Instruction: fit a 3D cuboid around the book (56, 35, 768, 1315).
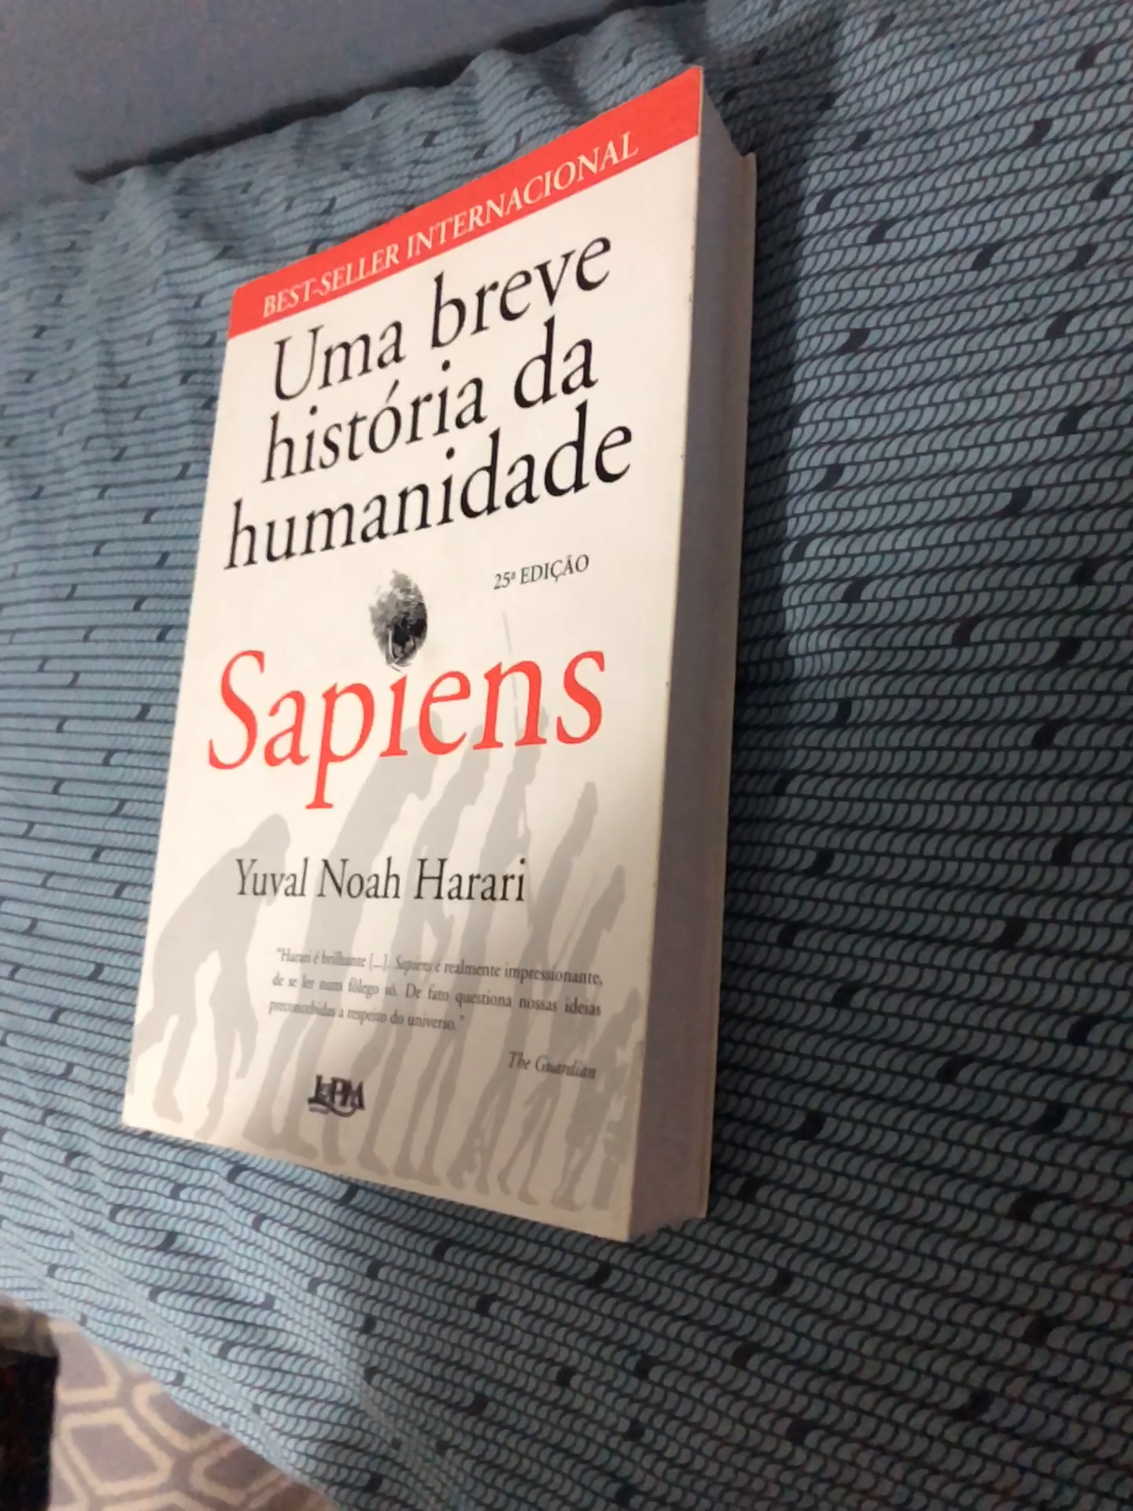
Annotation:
[{"bbox_3d":[-0.039,-0.018,0.293,0.161,0.040,0.240,-5,76,38],"label":"book"}]
